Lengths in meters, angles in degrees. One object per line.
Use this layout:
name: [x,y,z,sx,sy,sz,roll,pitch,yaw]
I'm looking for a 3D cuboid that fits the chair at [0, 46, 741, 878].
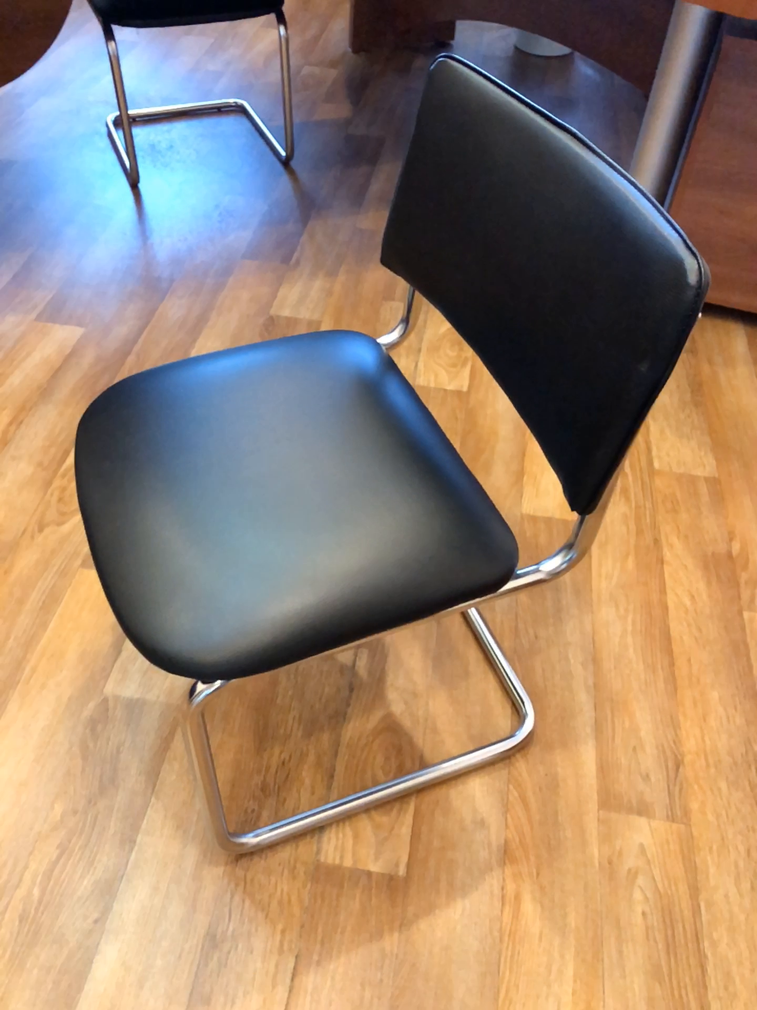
chair: [-0.074,-0.031,0.979,0.524,0.745,0.494,-15,49,-16]
